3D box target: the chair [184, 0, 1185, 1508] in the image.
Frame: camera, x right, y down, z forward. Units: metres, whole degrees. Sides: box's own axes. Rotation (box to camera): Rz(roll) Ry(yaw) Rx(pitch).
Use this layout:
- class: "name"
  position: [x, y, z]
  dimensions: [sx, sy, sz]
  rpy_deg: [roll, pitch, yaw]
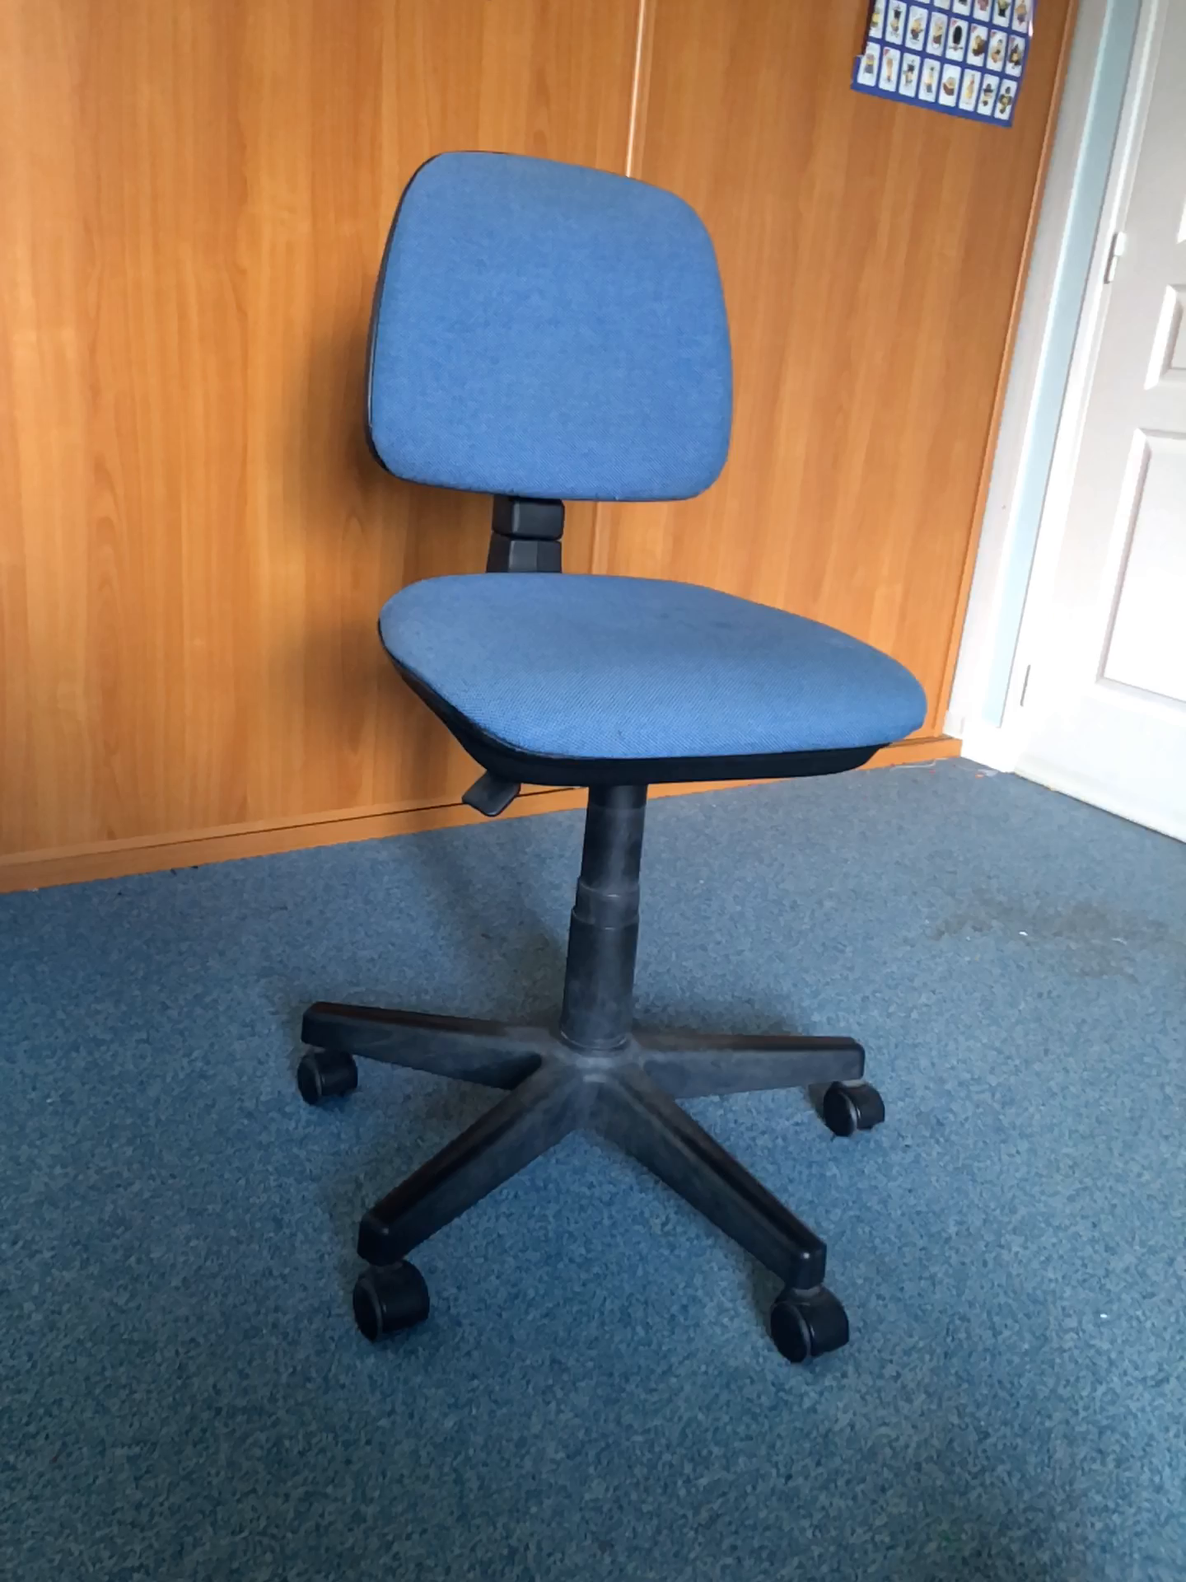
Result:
- class: "chair"
  position: [0.028, -0.102, 1.184]
  dimensions: [0.652, 0.916, 0.761]
  rpy_deg: [-4, 20, -26]
